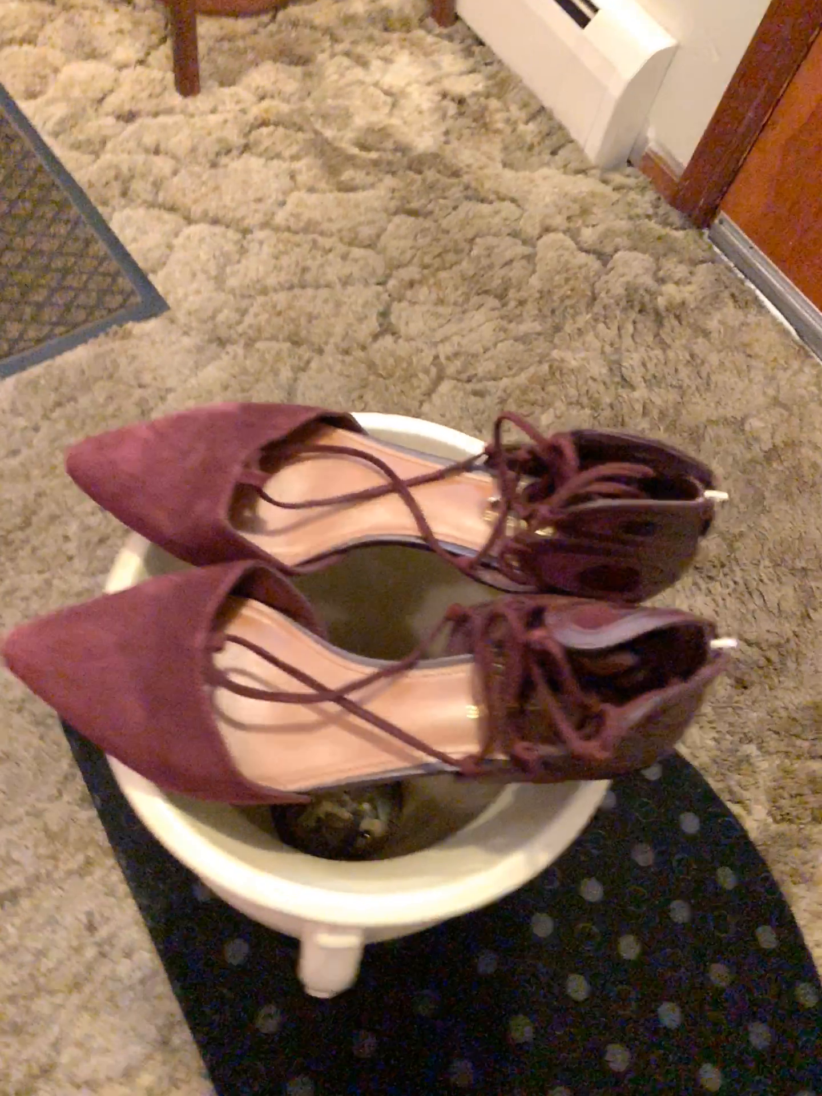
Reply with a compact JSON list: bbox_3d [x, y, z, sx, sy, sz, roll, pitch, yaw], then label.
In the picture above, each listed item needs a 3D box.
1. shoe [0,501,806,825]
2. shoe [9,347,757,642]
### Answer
[{"bbox_3d":[-0.025,0.041,0.296,0.280,0.070,0.091,1,62,3],"label":"shoe"},{"bbox_3d":[-0.011,-0.026,0.357,0.280,0.070,0.091,3,61,11],"label":"shoe"}]
